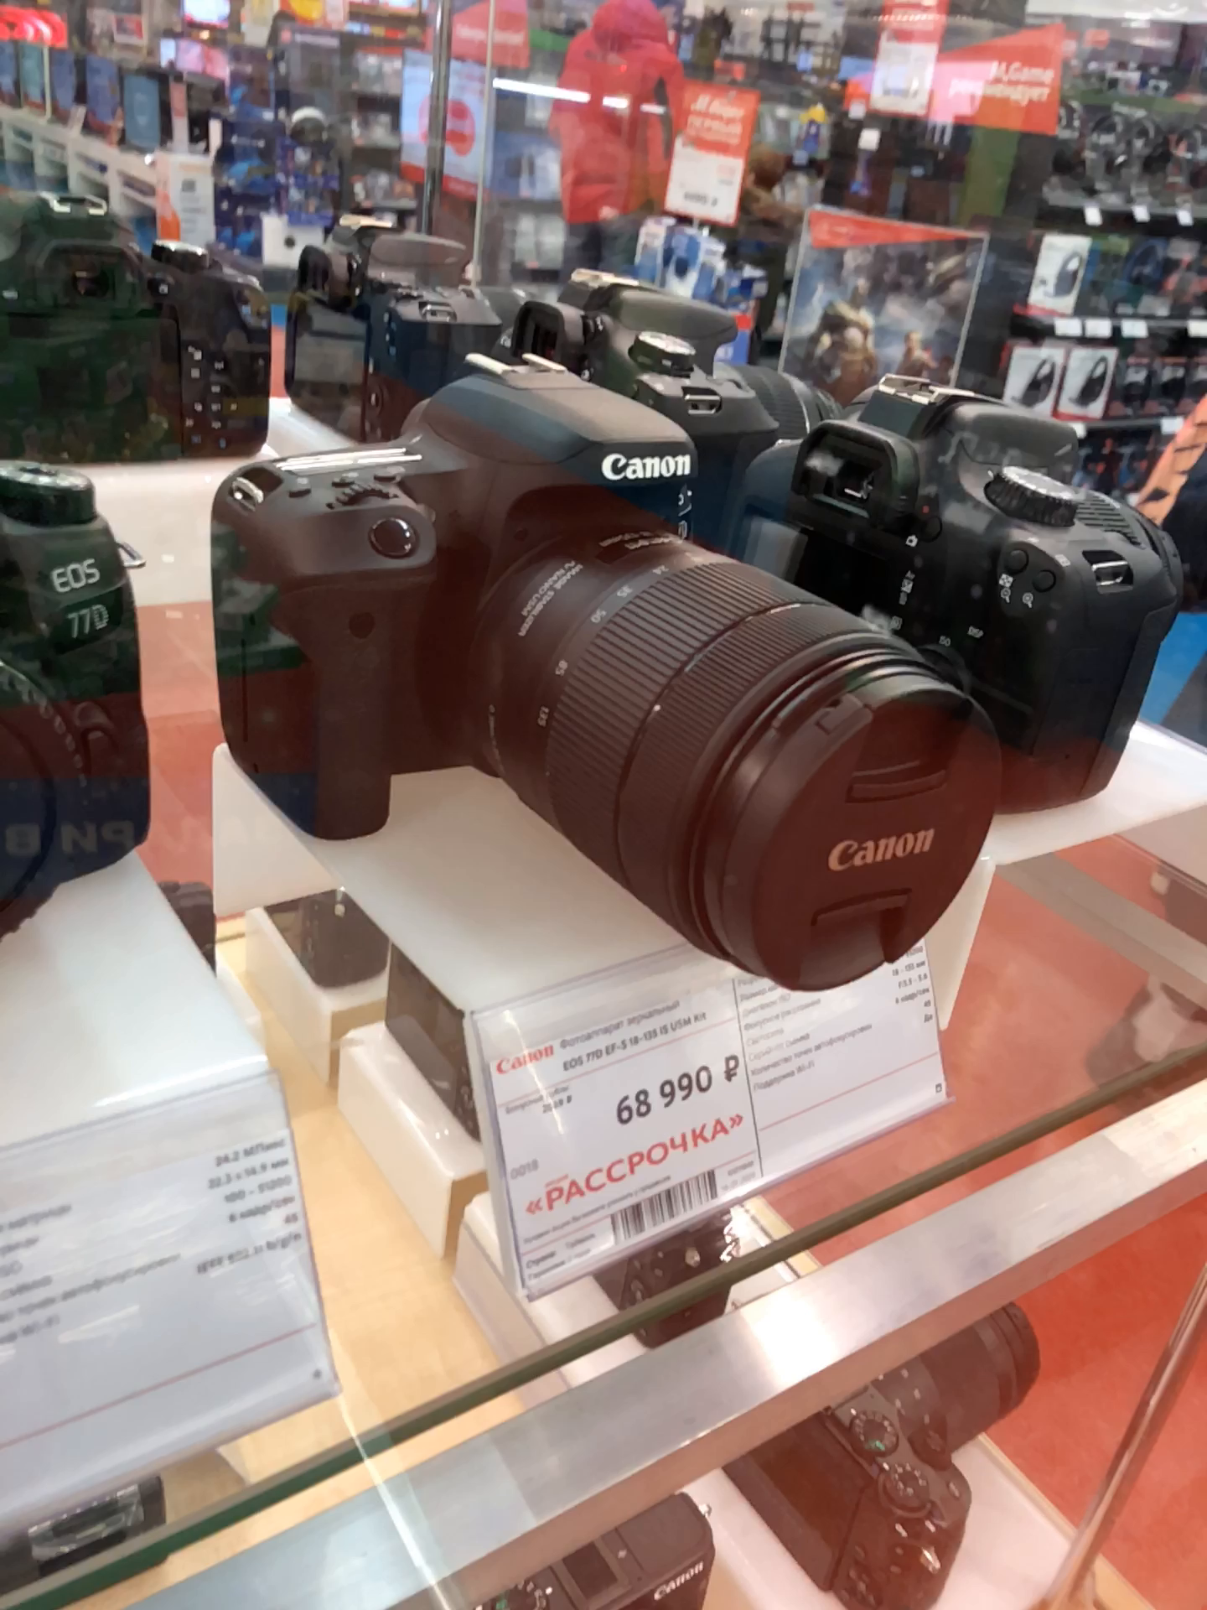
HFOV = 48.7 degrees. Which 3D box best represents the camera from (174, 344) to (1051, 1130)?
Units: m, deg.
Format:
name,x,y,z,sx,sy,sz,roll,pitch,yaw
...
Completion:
name,x,y,z,sx,sy,sz,roll,pitch,yaw
camera,-0.012,-0.037,0.336,0.132,0.119,0.168,-13,34,-34
